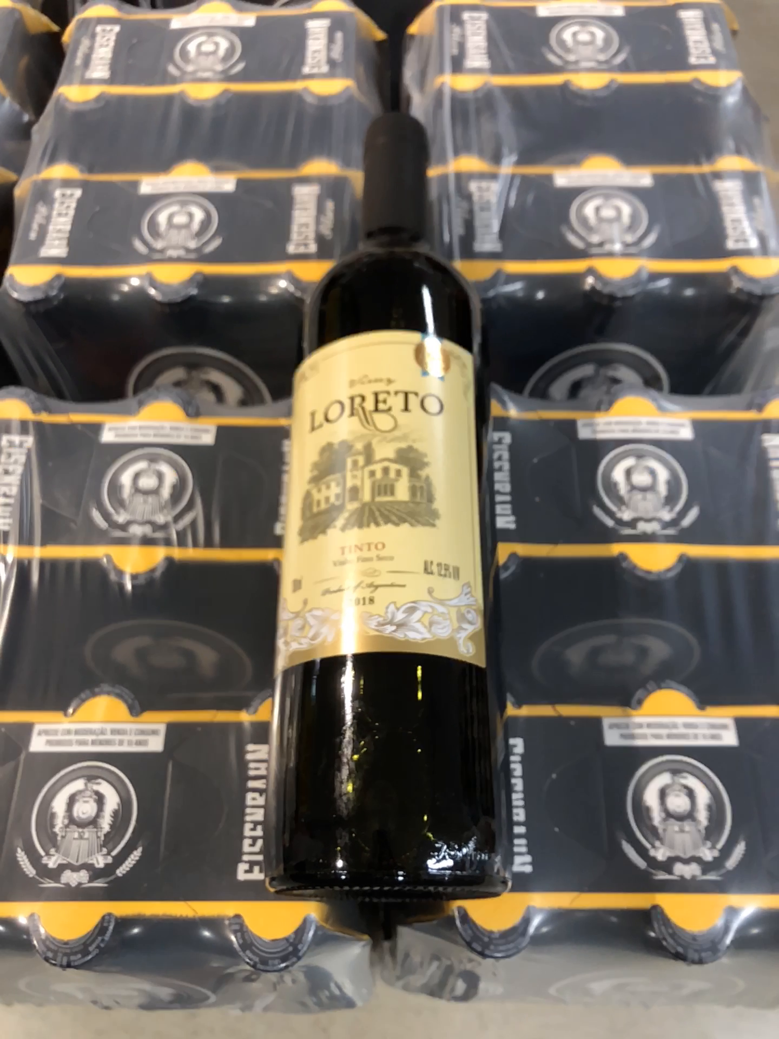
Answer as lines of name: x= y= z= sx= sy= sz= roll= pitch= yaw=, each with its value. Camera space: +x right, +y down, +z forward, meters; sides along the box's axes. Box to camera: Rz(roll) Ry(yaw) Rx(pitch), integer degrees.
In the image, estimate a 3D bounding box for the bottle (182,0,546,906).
bottle: x=-0.001 y=-0.046 z=0.311 sx=0.080 sy=0.080 sz=0.331 roll=-6 pitch=63 yaw=12
